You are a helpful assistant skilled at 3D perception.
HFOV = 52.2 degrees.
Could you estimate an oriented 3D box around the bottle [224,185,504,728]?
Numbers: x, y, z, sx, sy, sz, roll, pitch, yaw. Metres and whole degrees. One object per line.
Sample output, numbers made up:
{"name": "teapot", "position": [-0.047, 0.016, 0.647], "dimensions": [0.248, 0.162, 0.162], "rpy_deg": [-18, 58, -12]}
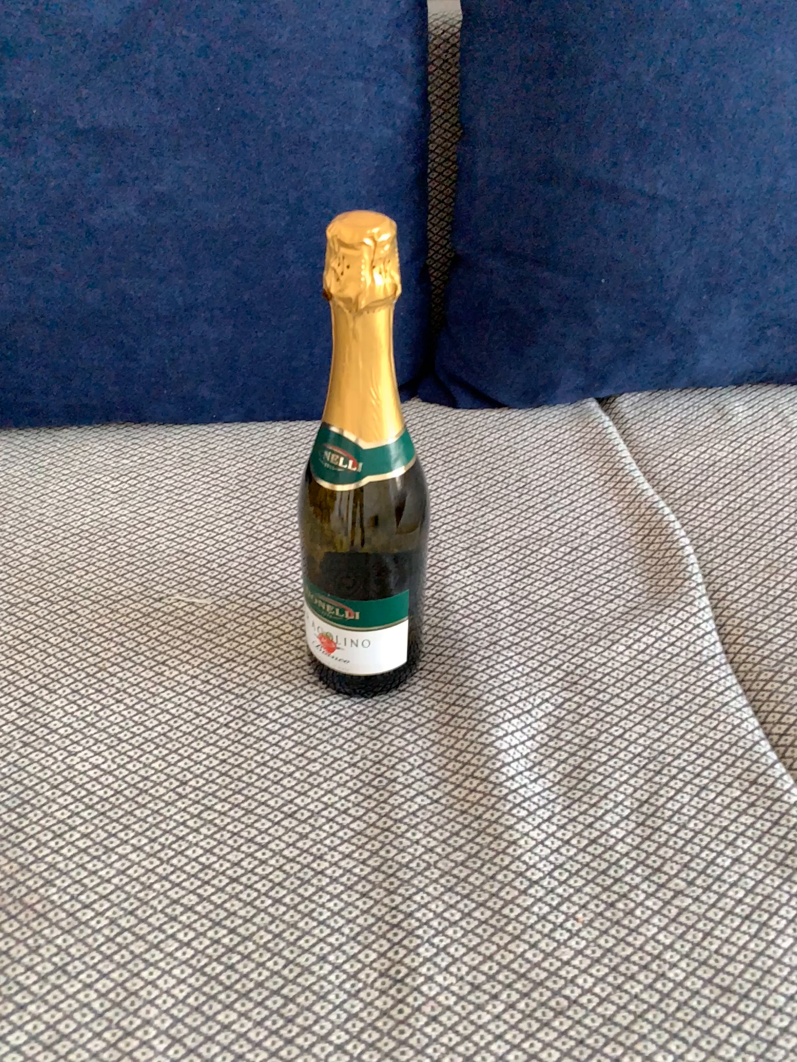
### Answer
{"name": "bottle", "position": [-0.013, -0.026, 0.463], "dimensions": [0.090, 0.289, 0.090], "rpy_deg": [-1, 41, 1]}
